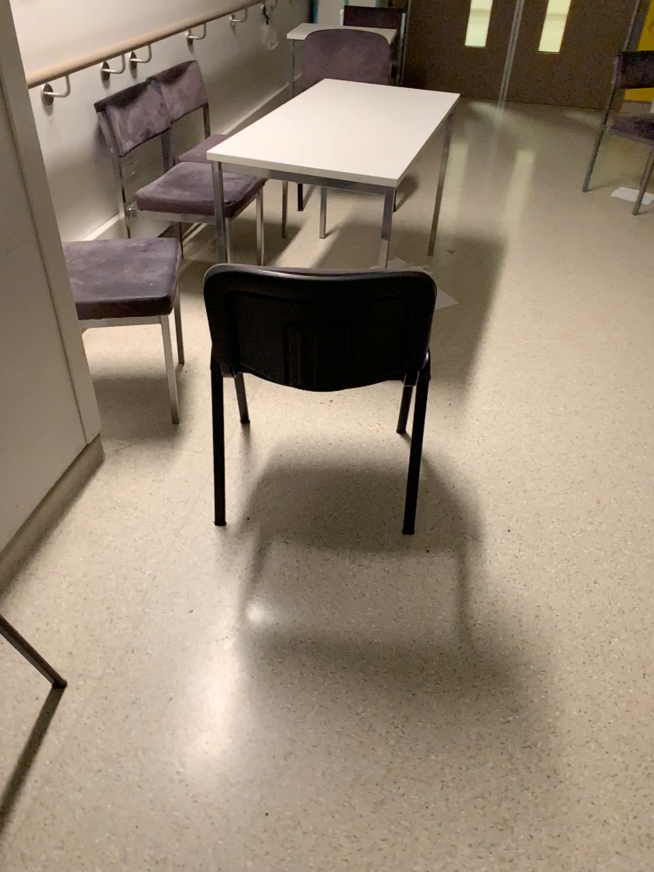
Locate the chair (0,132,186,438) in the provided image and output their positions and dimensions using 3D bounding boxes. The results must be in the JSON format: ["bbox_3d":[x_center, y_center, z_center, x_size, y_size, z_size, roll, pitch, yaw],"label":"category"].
[{"bbox_3d":[-0.749,-0.449,1.973,0.560,0.723,0.505,-3,38,-7],"label":"chair"}]

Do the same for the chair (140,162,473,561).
[{"bbox_3d":[-0.039,-0.190,1.660,0.600,0.753,0.606,3,38,1],"label":"chair"}]
